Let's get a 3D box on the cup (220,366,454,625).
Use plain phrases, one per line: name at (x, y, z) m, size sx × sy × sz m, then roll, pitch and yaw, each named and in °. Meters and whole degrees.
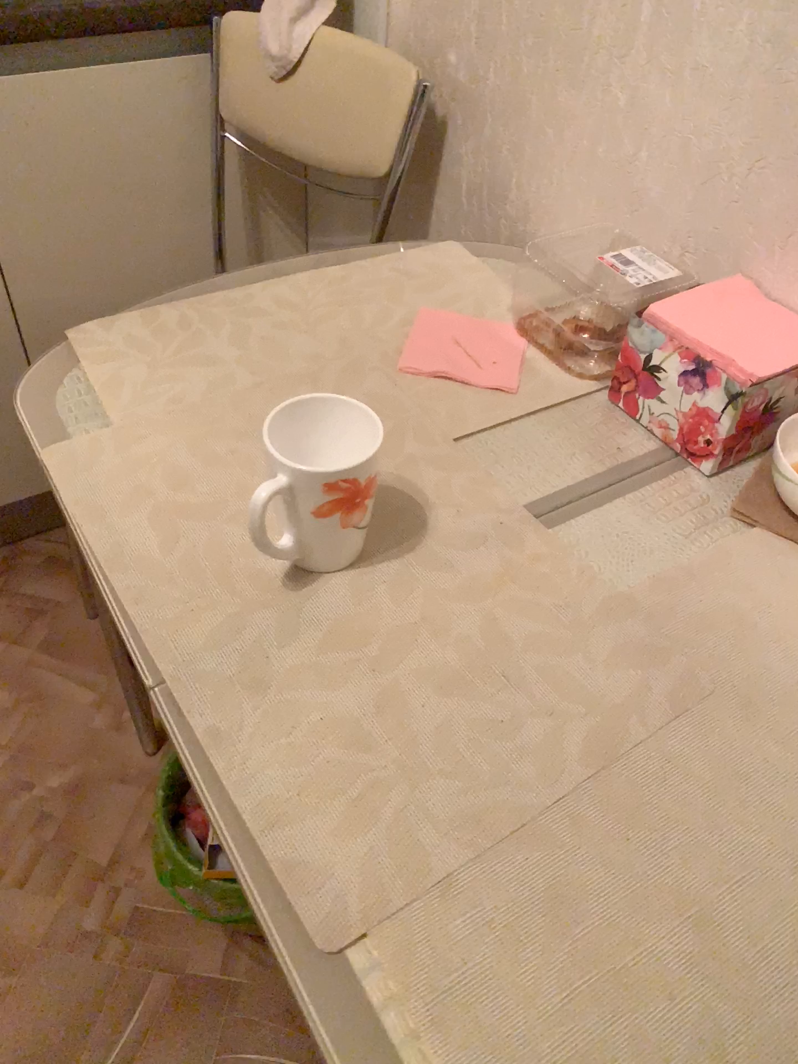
cup at (-0.040, -0.028, 0.551) m, size 0.090 × 0.099 × 0.121 m, roll 32°, pitch 51°, yaw 25°
